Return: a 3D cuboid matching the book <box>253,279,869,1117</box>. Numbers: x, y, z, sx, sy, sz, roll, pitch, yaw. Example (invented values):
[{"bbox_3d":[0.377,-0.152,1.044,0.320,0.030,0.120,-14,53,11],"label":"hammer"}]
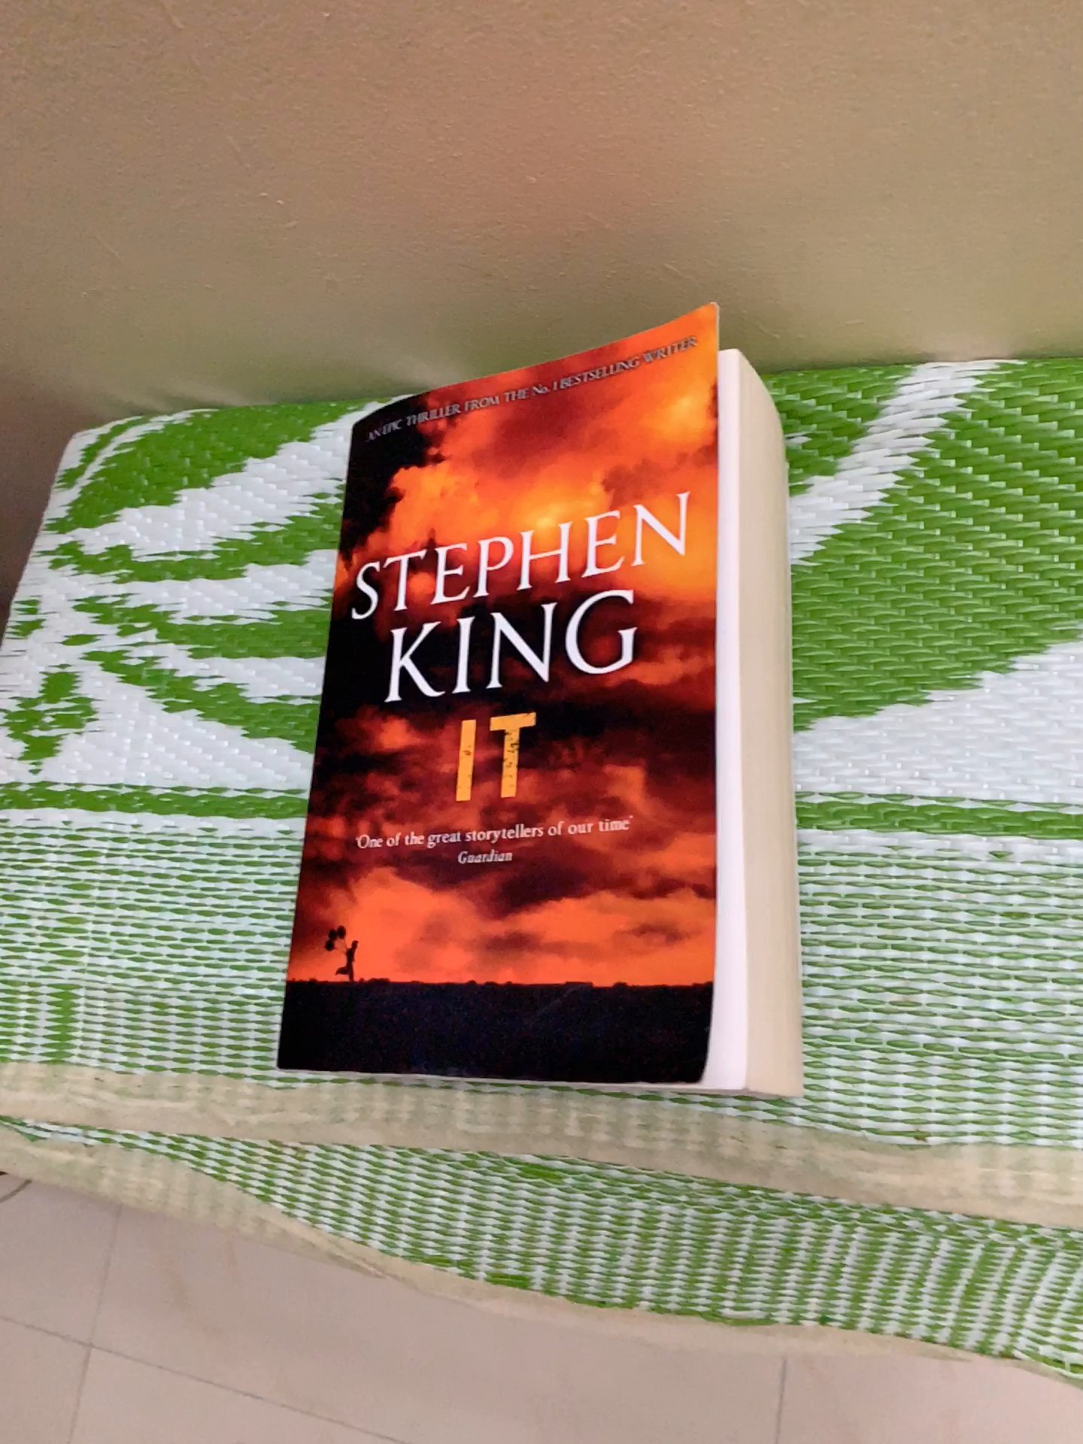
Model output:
[{"bbox_3d":[0.015,-0.005,0.319,0.140,0.070,0.210,-4,67,21],"label":"book"}]
